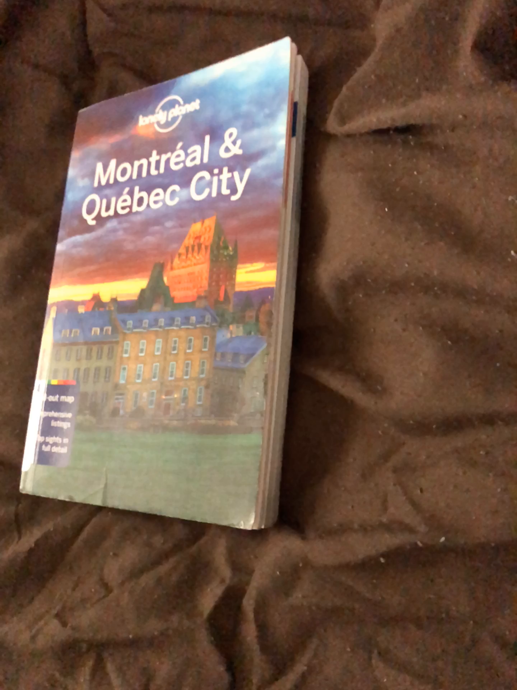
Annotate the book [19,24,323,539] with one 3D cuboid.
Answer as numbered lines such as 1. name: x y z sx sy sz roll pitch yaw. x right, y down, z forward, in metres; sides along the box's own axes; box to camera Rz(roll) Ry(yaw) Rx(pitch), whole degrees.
1. book: -0.043 -0.028 0.270 0.138 0.023 0.205 -2 78 33
